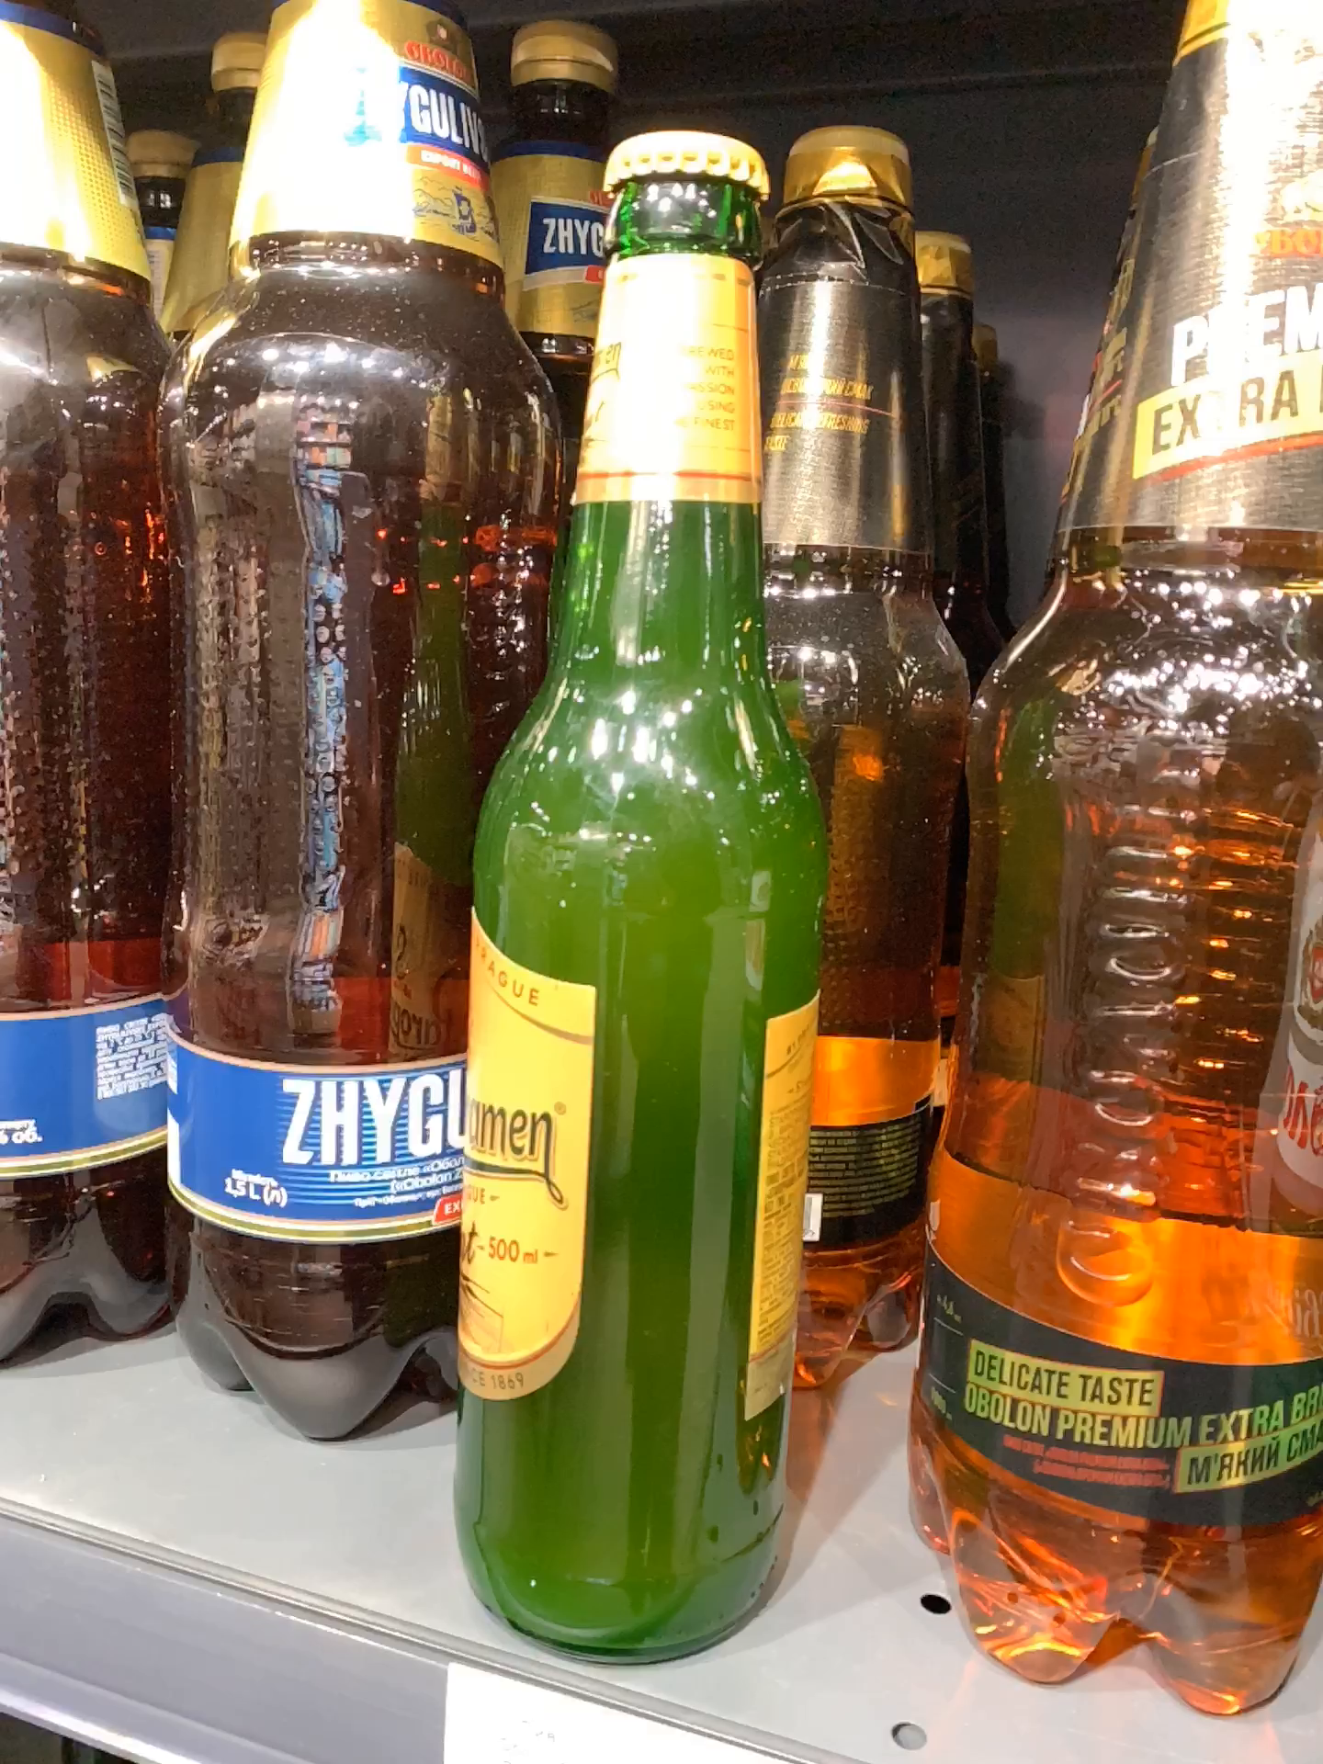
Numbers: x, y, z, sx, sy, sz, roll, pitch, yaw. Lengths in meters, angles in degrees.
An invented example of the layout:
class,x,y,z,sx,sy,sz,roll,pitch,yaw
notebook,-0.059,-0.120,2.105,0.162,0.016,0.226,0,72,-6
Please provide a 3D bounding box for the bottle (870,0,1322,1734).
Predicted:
class,x,y,z,sx,sy,sz,roll,pitch,yaw
bottle,0.082,-0.009,0.225,0.075,0.270,0.066,3,10,6

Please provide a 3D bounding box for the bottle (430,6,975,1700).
class,x,y,z,sx,sy,sz,roll,pitch,yaw
bottle,-0.001,0.002,0.244,0.067,0.255,0.062,2,10,0
